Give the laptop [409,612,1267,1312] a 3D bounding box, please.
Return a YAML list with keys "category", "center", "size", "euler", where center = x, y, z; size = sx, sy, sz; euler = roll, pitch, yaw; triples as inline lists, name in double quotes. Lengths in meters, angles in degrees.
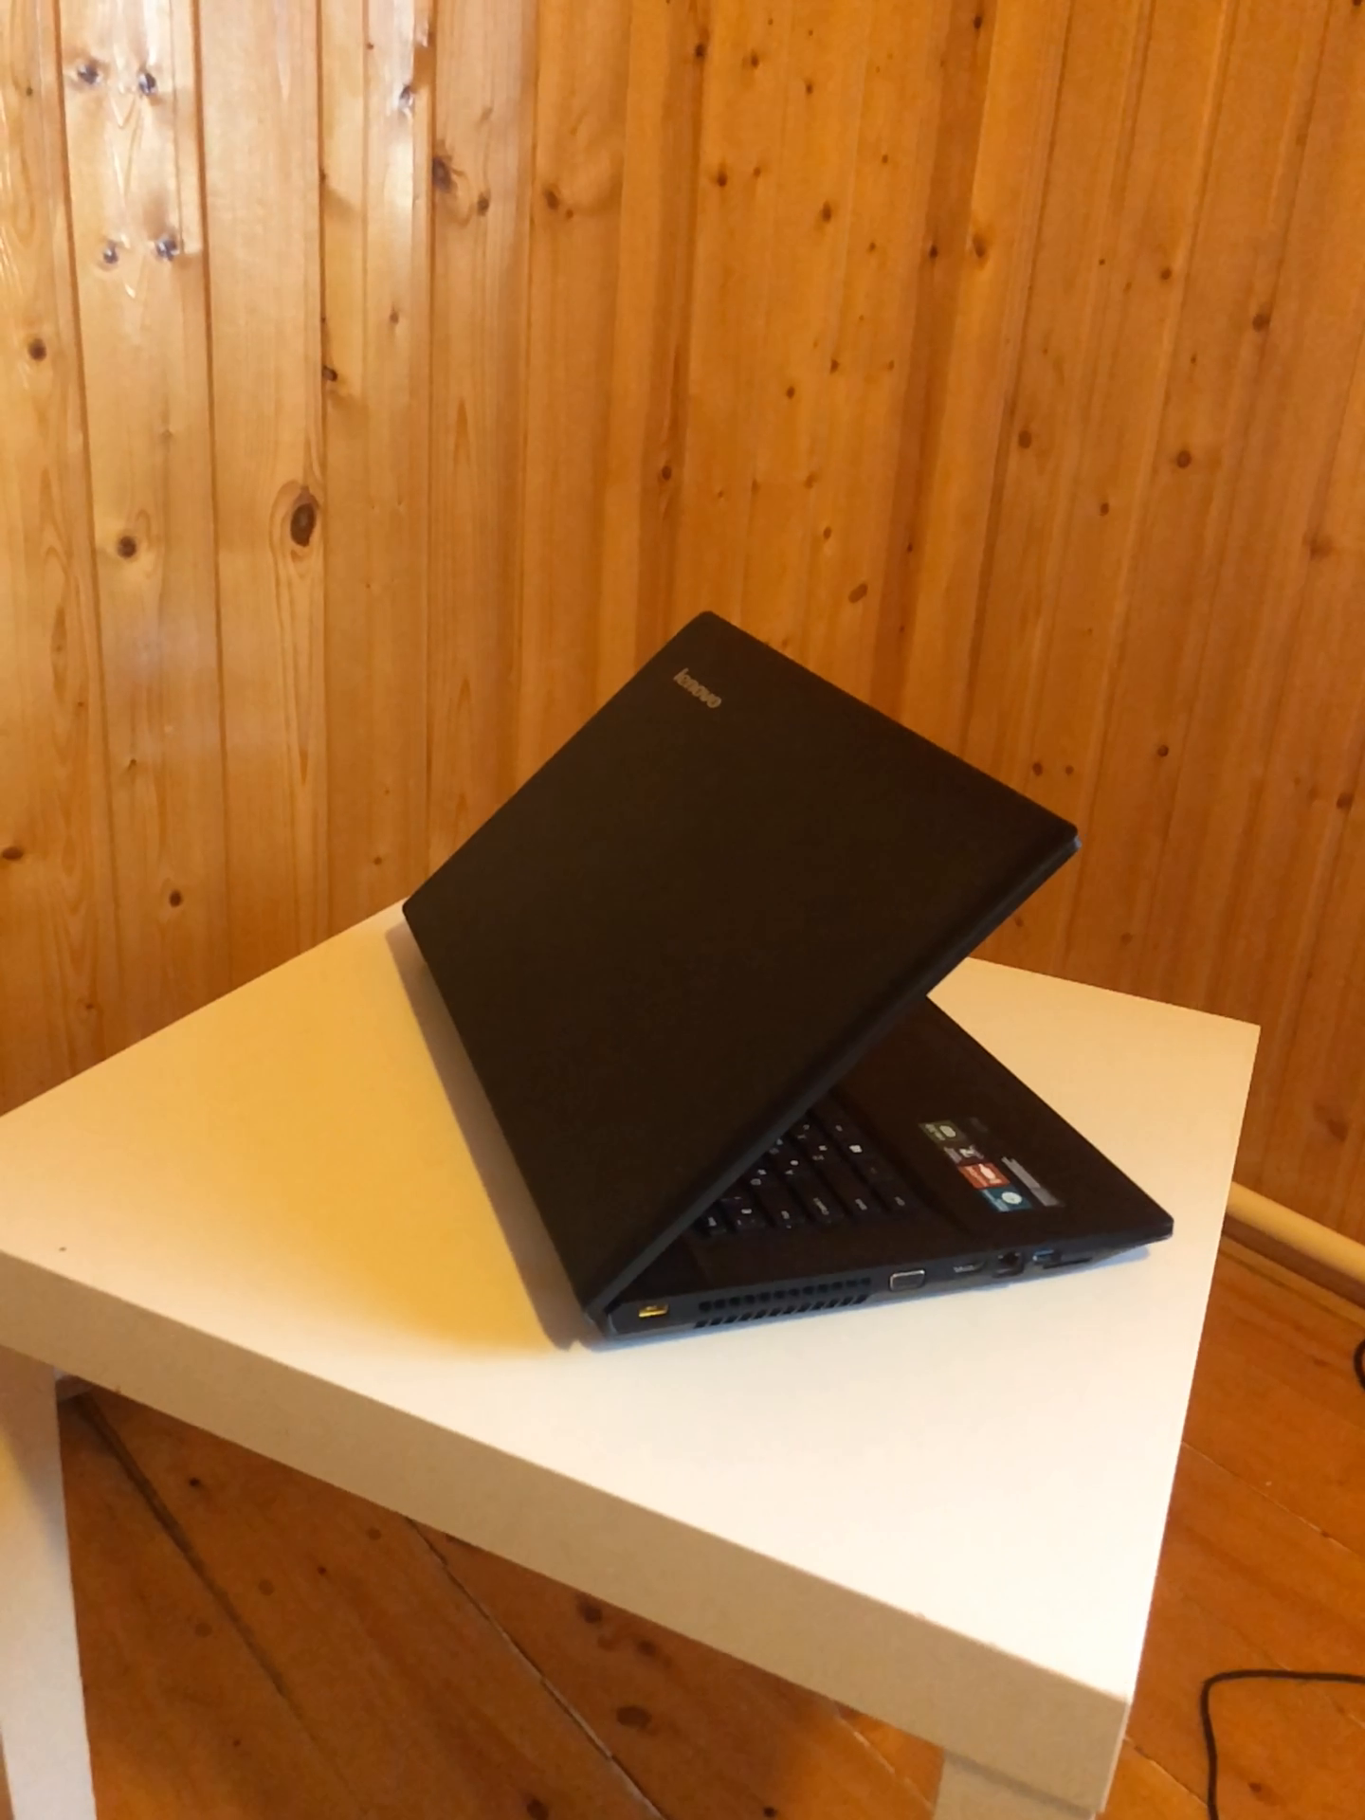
- category: "laptop"
  center: [0.032, -0.017, 0.760]
  size: [0.271, 0.185, 0.412]
  euler: [-3, 23, -20]
